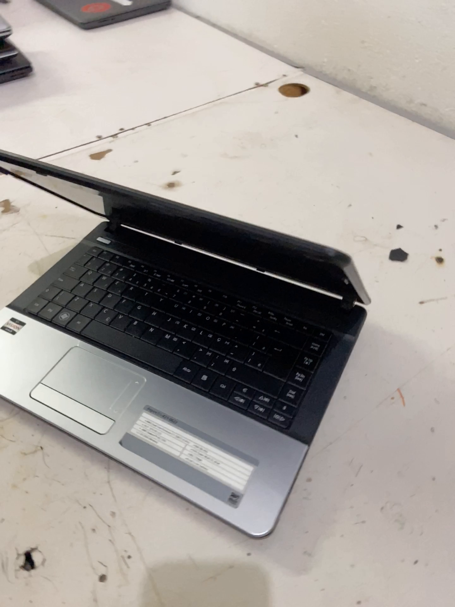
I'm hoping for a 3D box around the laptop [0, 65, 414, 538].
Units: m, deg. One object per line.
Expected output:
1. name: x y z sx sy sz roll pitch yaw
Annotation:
1. laptop: -0.068 -0.031 0.387 0.334 0.184 0.239 20 52 20
